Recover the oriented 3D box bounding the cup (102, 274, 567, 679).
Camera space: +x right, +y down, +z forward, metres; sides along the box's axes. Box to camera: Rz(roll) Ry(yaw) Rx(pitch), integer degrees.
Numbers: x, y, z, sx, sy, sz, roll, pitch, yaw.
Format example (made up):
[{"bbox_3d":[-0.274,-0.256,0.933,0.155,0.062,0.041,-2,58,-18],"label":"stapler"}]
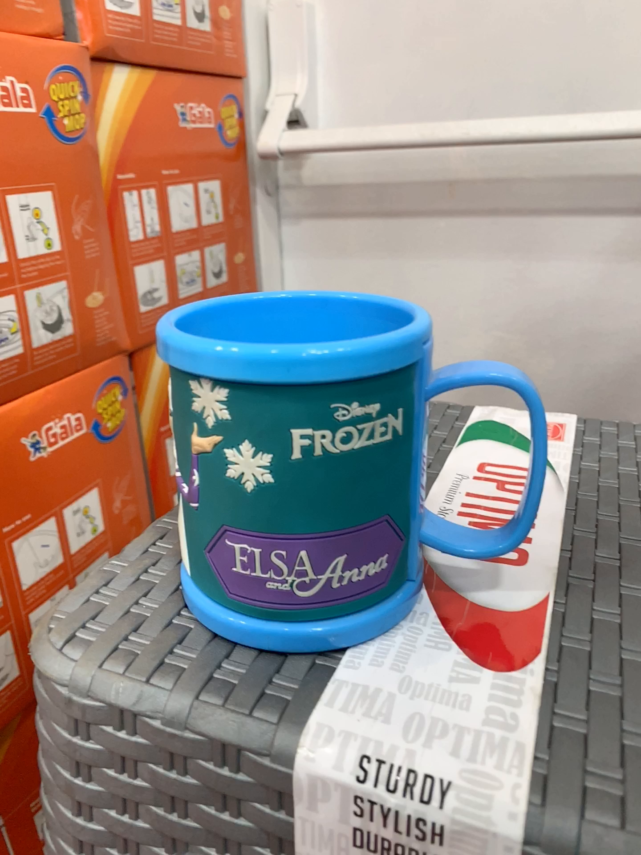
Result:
[{"bbox_3d":[0.005,0.010,0.206,0.106,0.099,0.078,-1,21,3],"label":"cup"}]
